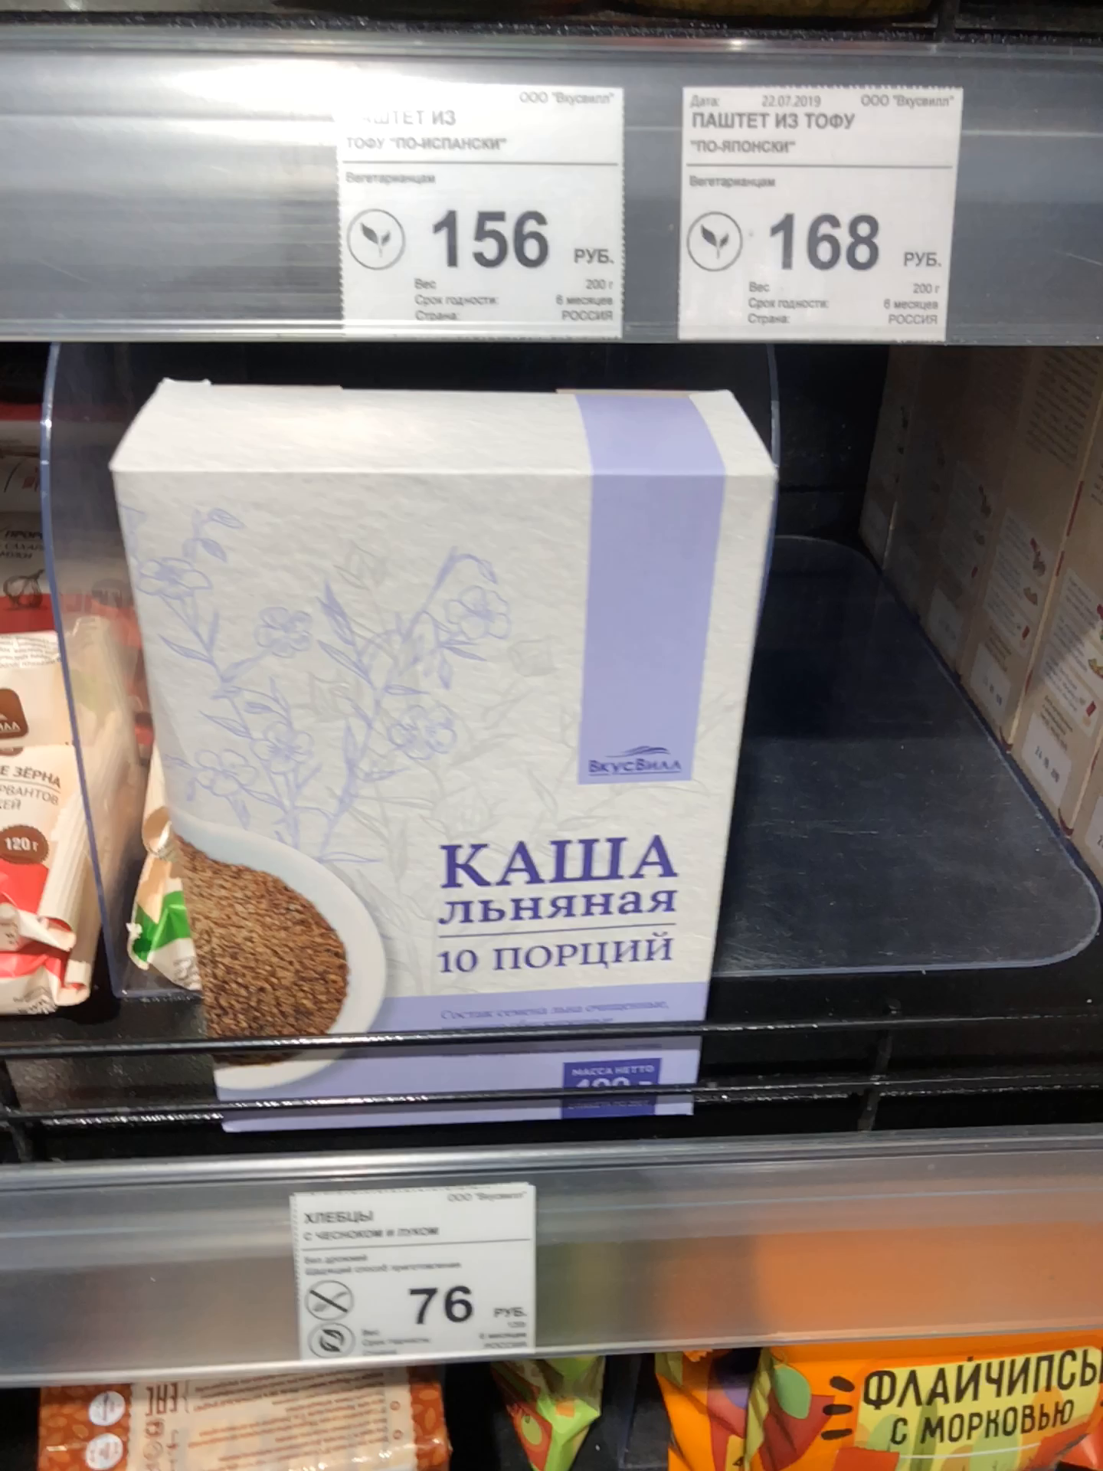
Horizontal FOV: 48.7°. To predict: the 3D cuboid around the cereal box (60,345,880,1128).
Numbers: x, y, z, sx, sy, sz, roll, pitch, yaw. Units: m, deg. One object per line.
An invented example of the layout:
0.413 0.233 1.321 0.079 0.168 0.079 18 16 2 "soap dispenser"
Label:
-0.017 0.009 0.295 0.150 0.189 0.050 -1 33 -4 "cereal box"
